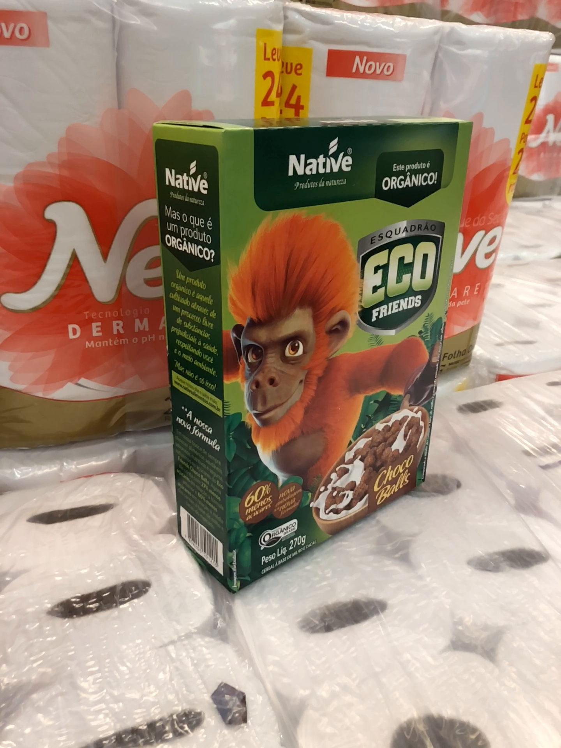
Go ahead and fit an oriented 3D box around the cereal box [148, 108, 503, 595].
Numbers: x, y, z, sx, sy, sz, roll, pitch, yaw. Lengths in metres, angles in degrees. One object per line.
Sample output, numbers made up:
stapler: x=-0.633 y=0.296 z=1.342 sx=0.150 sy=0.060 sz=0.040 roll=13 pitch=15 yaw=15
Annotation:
cereal box: x=0.029 y=-0.024 z=0.347 sx=0.181 sy=0.228 sz=0.060 roll=-18 pitch=29 yaw=-36
